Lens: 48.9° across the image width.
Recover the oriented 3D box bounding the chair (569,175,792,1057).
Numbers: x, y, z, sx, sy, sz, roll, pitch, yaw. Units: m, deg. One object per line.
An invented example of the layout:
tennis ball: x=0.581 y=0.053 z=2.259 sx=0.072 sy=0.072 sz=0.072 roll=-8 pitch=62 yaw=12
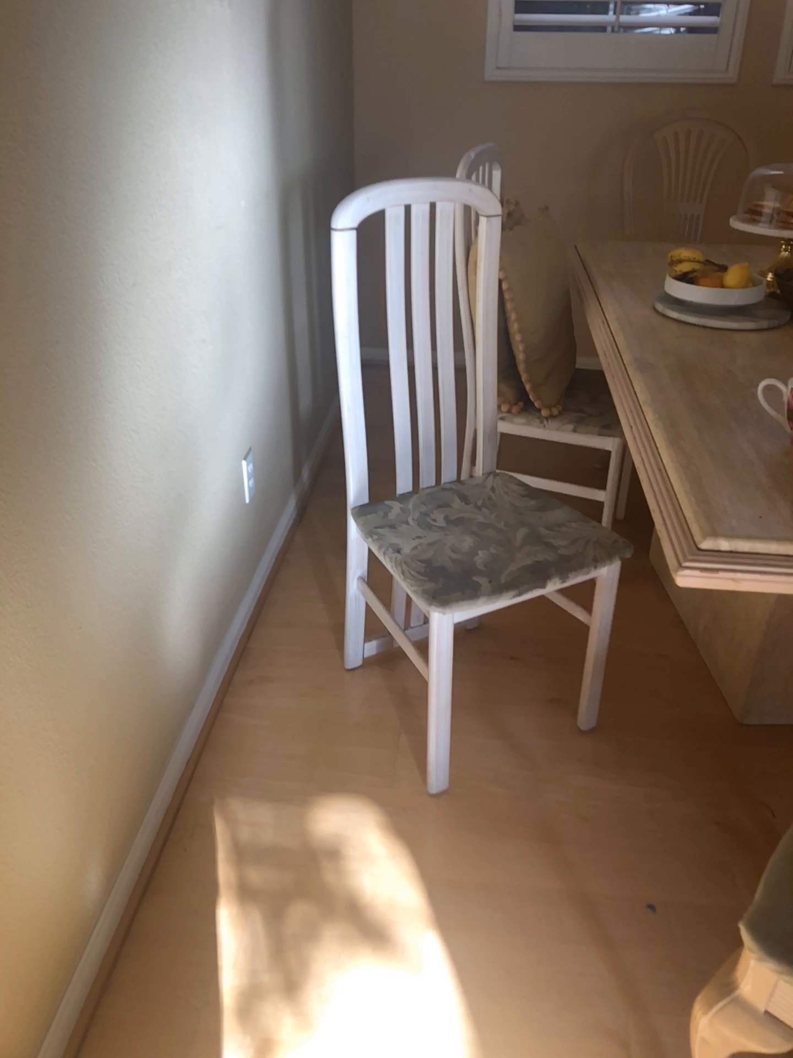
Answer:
chair: x=0.703 y=0.386 z=0.926 sx=0.594 sy=1.289 sz=0.632 roll=-25 pitch=40 yaw=-38

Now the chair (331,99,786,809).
chair: x=0.296 y=-0.204 z=2.083 sx=0.632 sy=1.448 sz=0.673 roll=-13 pitch=30 yaw=-23
